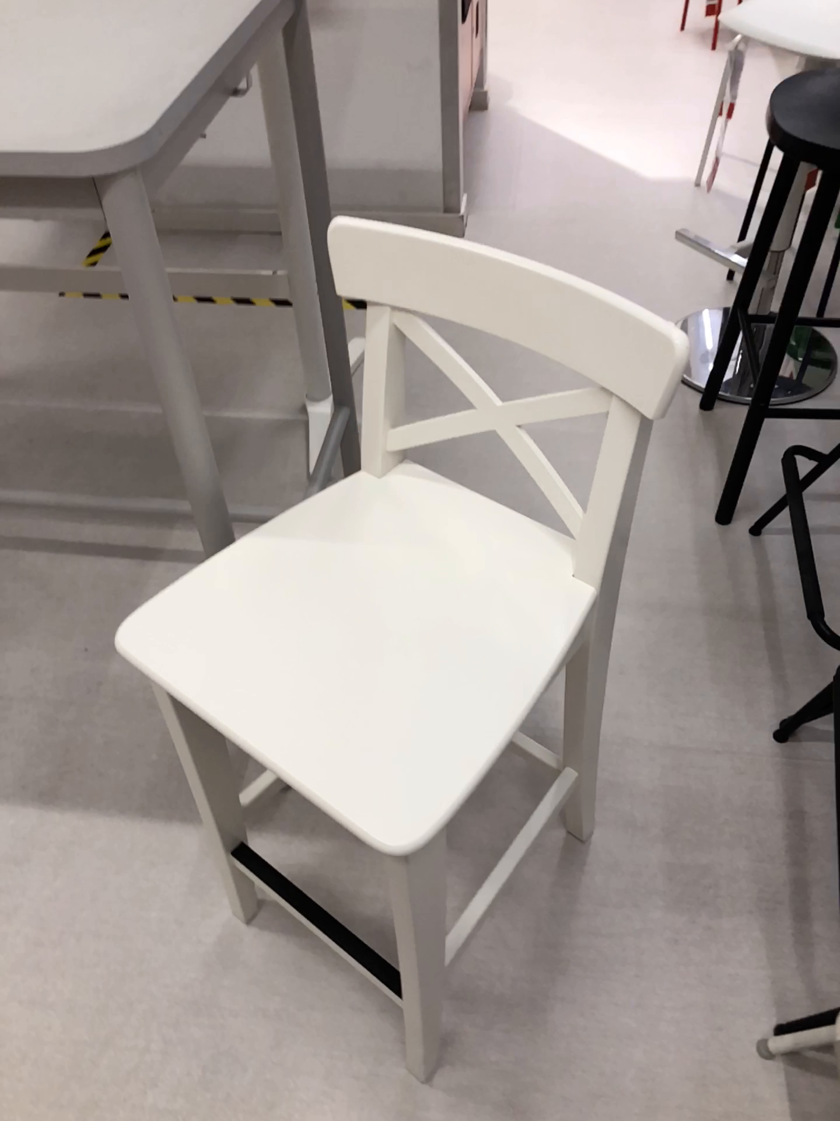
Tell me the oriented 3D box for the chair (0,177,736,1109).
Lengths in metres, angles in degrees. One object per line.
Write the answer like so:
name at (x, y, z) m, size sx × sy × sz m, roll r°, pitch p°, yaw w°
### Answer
chair at (-0.037, 0.132, 0.980) m, size 0.421 × 0.835 × 0.422 m, roll 29°, pitch 54°, yaw 28°
